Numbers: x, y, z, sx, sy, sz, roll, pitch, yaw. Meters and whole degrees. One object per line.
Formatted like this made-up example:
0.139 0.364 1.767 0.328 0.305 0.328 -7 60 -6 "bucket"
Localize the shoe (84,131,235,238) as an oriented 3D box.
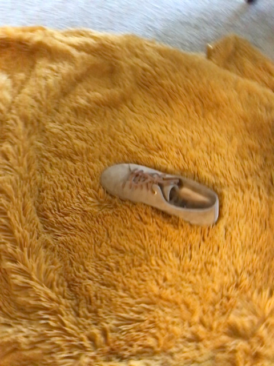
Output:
0.040 -0.002 0.574 0.258 0.070 0.100 22 61 15 "shoe"
